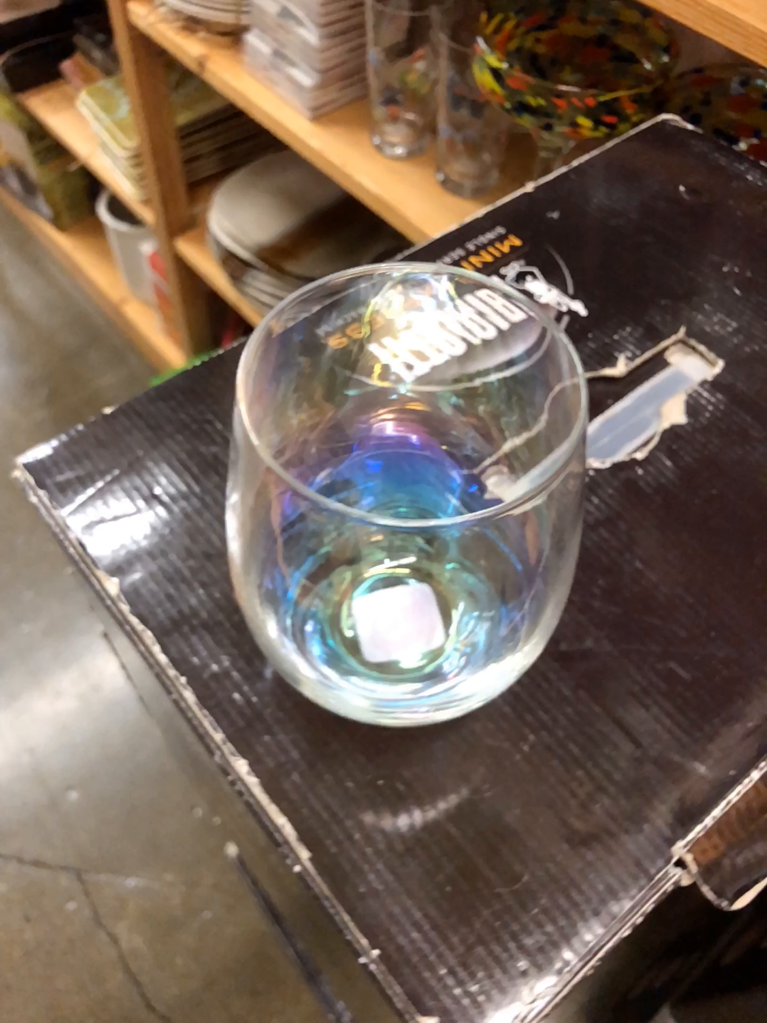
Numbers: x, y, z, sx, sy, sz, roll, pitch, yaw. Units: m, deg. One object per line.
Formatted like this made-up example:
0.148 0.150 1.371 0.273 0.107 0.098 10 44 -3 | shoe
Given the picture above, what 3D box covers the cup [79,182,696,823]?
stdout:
-0.002 0.001 0.224 0.089 0.107 0.093 1 57 -2 | cup
